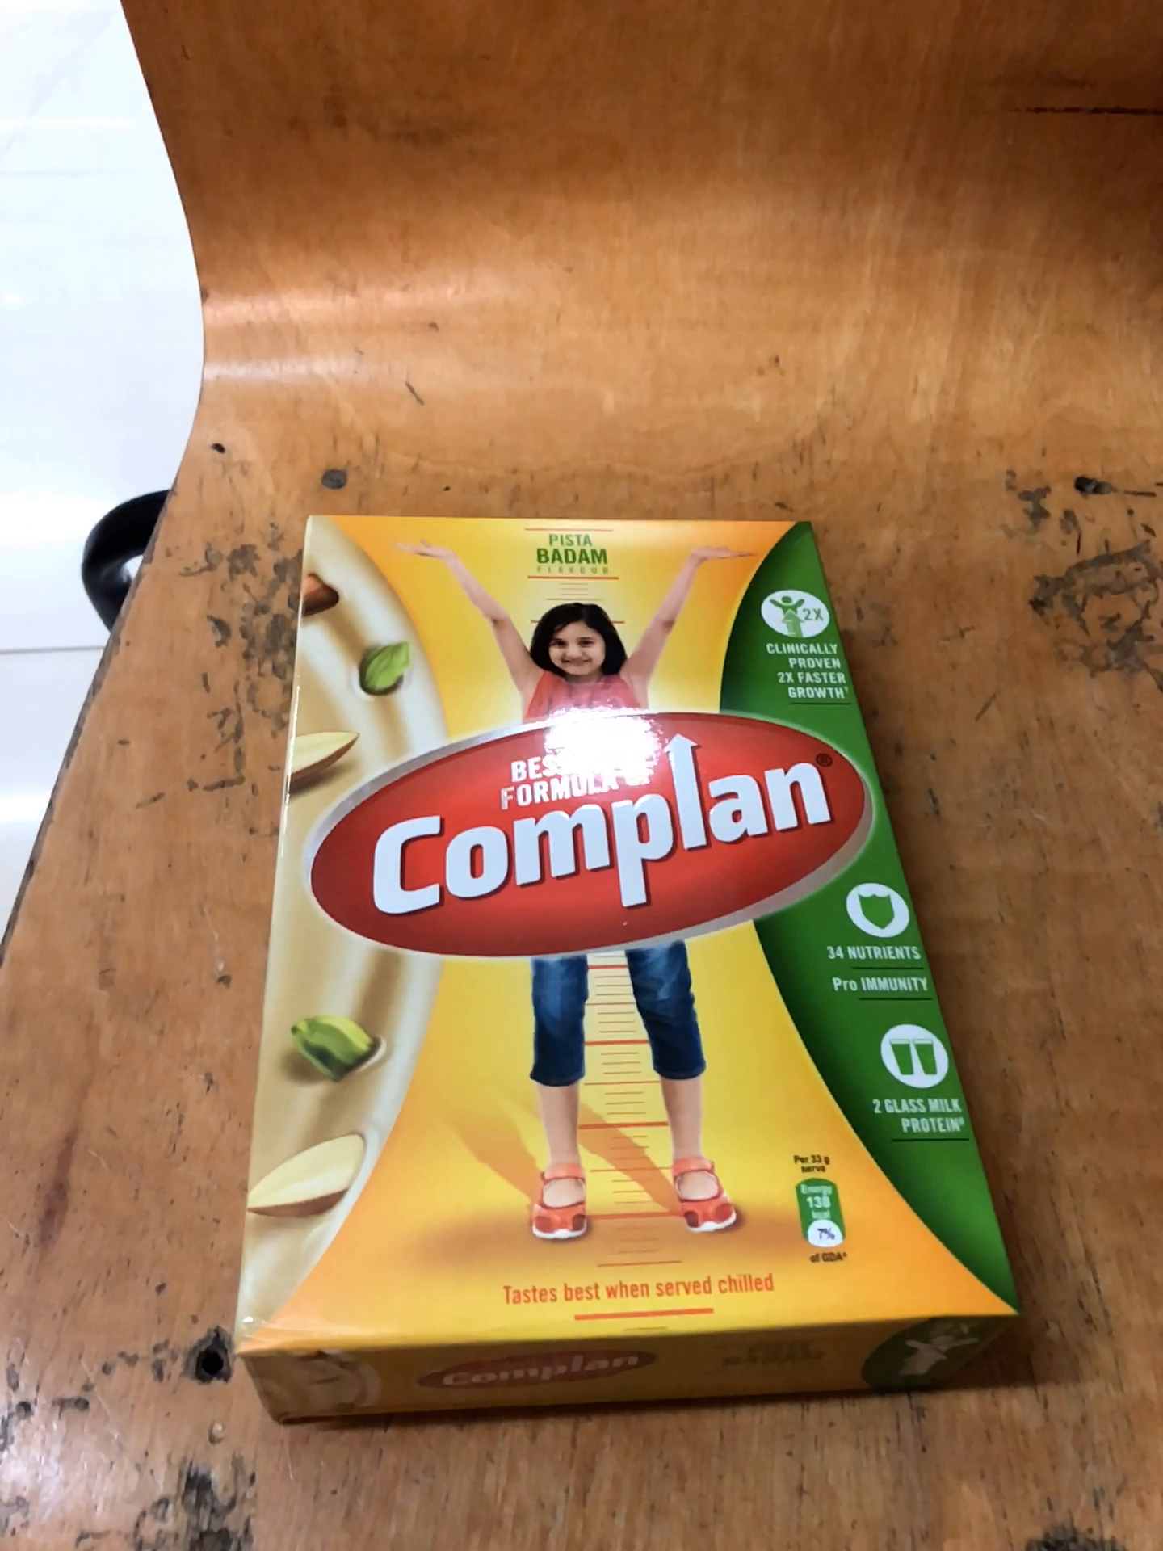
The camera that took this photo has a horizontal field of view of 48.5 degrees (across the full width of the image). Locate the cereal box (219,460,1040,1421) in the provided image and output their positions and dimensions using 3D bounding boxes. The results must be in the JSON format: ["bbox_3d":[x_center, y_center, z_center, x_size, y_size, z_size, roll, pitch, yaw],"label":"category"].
[{"bbox_3d":[-0.001,0.020,0.303,0.140,0.050,0.221,0,52,-8],"label":"cereal box"}]
